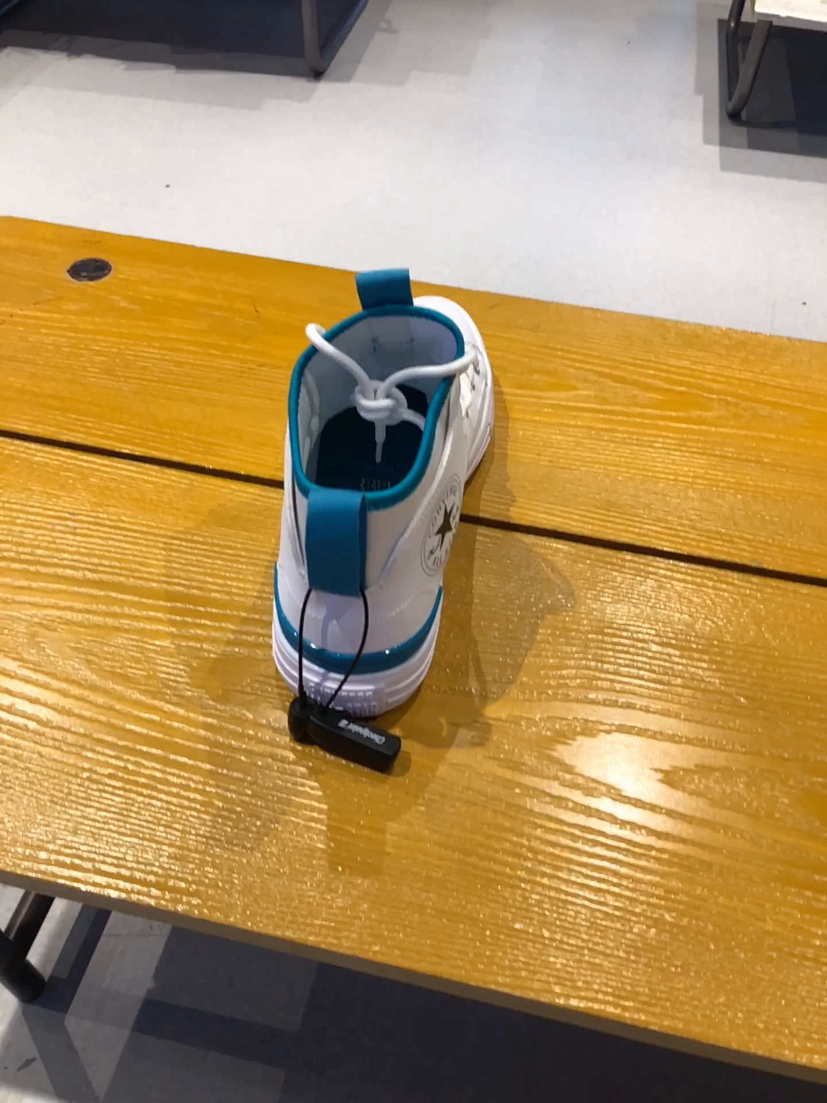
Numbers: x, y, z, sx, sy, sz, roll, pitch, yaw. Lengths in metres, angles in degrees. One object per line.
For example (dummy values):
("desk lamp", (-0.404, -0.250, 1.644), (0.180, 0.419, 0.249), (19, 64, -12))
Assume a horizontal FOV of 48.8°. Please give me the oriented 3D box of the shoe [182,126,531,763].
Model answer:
("shoe", (-0.010, -0.069, 0.465), (0.108, 0.157, 0.295), (7, 48, 3))
